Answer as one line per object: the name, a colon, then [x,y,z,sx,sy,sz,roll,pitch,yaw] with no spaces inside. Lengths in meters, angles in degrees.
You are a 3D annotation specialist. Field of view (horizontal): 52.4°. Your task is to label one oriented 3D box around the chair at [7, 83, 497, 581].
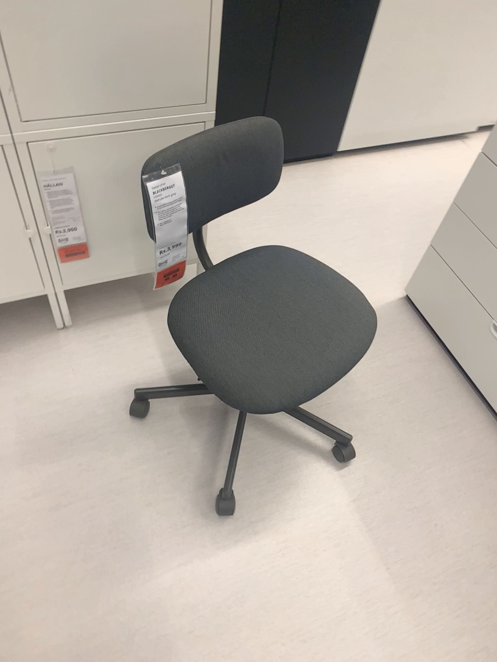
chair: [0.020,-0.019,1.225,0.721,0.678,0.711,-33,64,-29]
